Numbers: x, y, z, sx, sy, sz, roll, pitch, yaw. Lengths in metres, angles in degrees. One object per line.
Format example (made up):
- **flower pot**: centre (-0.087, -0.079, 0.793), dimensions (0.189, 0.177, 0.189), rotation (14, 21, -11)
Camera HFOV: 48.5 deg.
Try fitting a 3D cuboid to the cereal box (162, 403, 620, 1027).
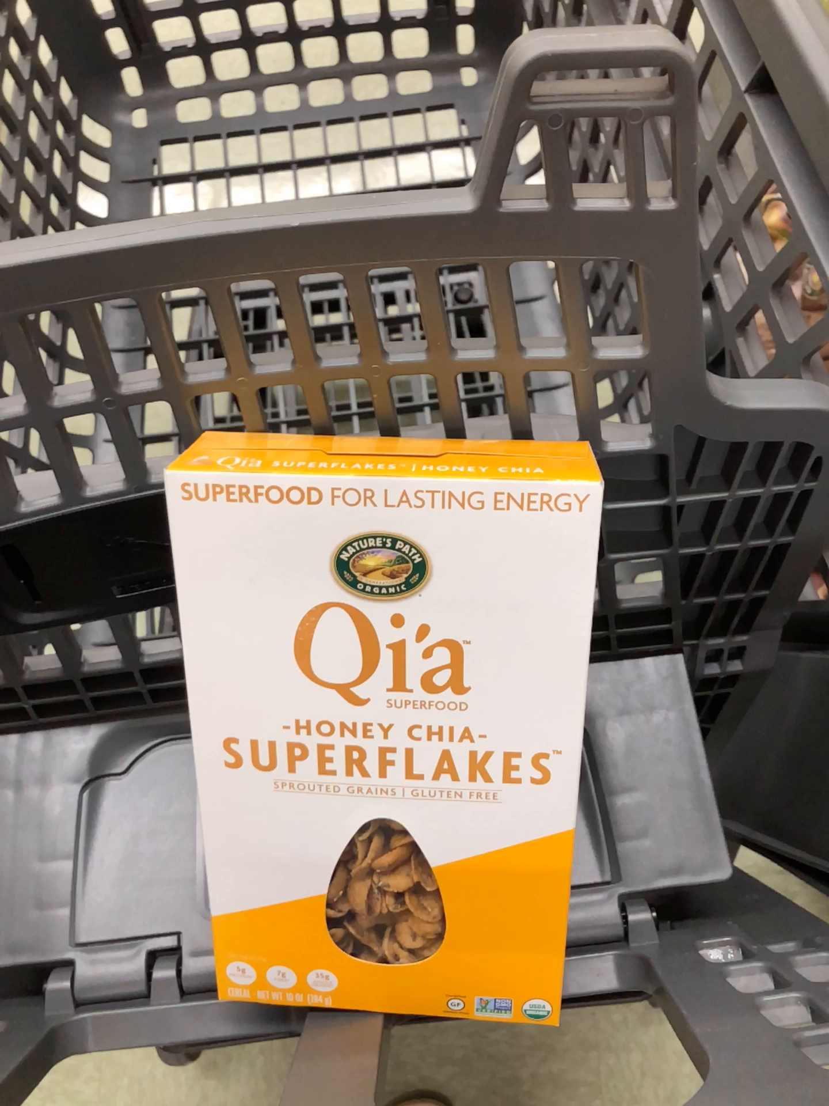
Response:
- **cereal box**: centre (-0.009, 0.074, 0.400), dimensions (0.160, 0.070, 0.260), rotation (3, 112, 4)
